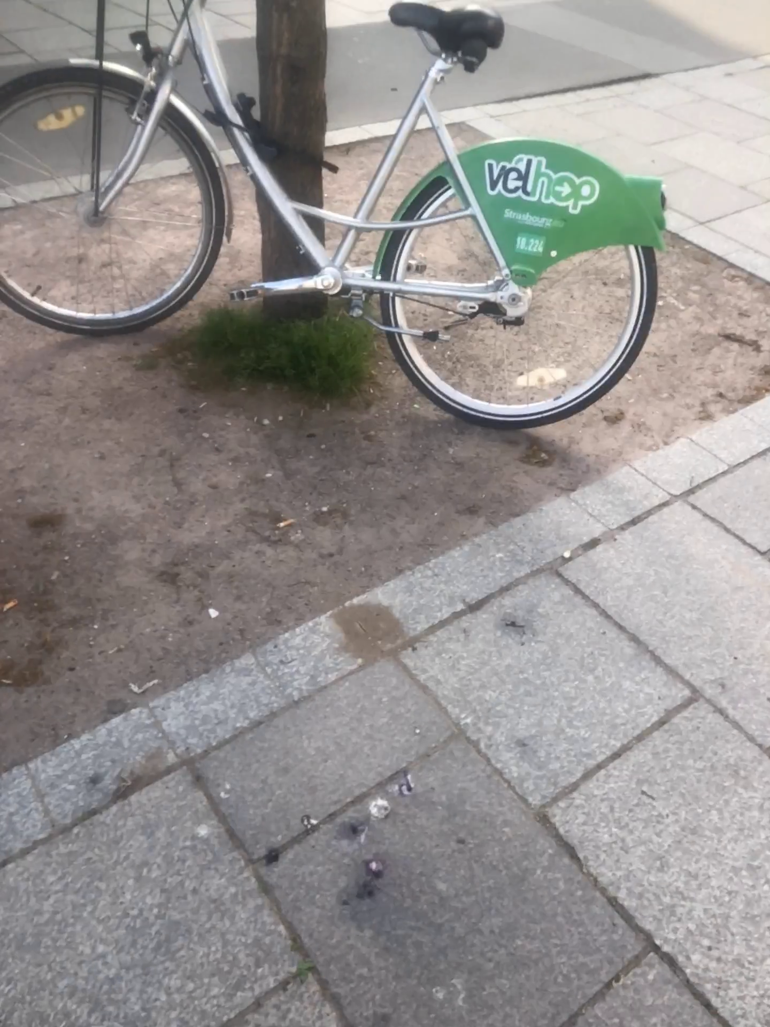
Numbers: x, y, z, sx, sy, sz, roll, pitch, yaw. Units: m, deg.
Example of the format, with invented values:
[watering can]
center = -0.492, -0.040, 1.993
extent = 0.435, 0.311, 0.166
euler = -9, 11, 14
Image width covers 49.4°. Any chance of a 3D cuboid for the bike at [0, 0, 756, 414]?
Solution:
[bike]
center = -0.153, -0.896, 1.991
extent = 1.718, 1.113, 0.313
euler = 6, 42, -2
